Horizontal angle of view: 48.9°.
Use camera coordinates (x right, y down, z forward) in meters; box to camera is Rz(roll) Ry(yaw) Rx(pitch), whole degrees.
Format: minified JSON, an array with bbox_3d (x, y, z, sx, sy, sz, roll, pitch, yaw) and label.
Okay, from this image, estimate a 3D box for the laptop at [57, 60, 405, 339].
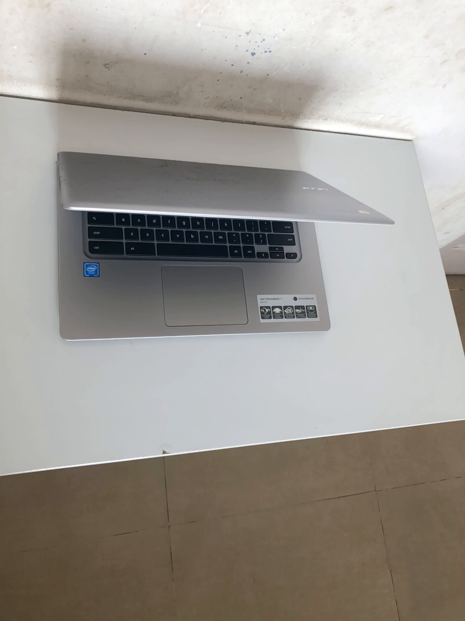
[{"bbox_3d":[-0.017,-0.101,0.558,0.326,0.155,0.222,-1,73,-20],"label":"laptop"}]
